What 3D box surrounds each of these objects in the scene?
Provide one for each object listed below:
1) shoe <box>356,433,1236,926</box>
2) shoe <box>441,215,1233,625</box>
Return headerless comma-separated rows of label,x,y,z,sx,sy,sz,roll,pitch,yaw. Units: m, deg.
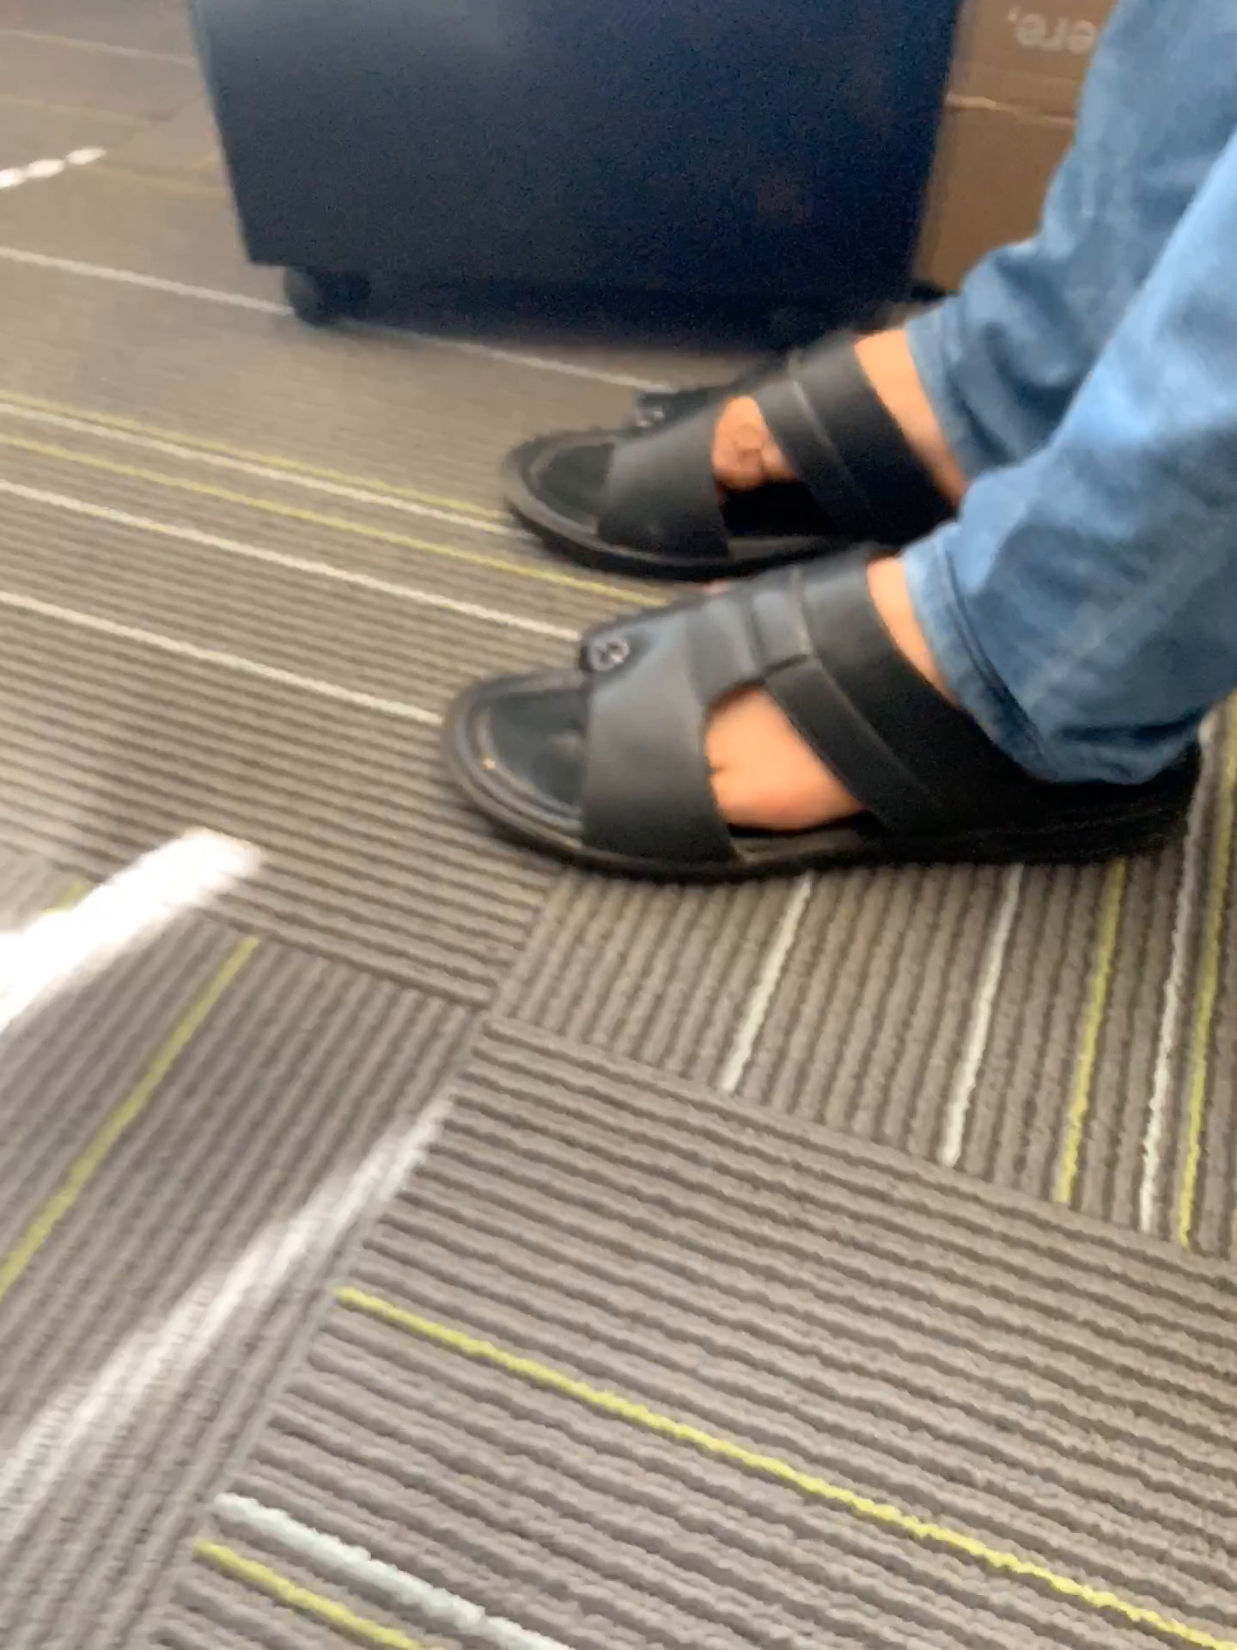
shoe,0.078,-0.055,0.485,0.316,0.116,0.119,4,48,3
shoe,0.091,-0.190,0.602,0.316,0.116,0.119,6,48,5
